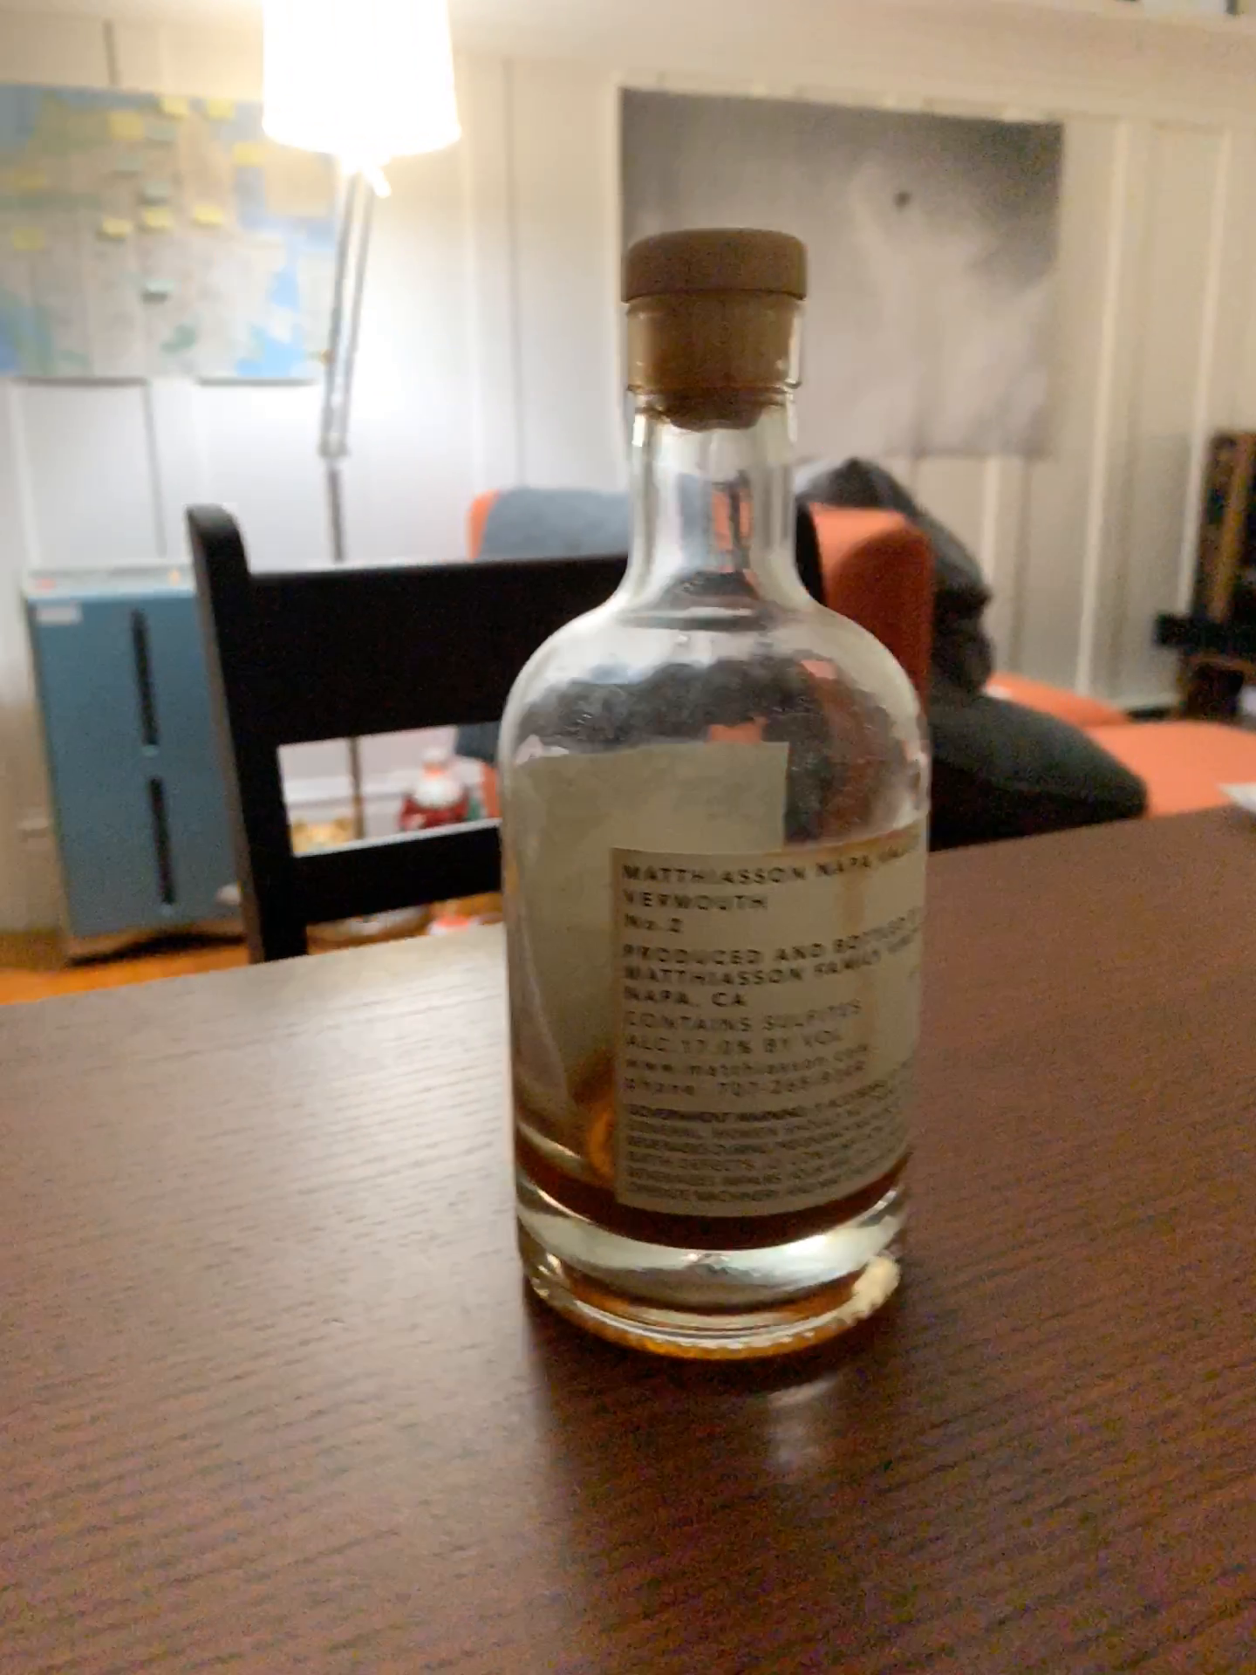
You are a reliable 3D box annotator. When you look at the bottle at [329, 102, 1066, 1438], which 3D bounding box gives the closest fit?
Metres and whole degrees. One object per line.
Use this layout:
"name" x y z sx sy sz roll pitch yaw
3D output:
"bottle" 0.008 -0.012 0.236 0.090 0.189 0.080 -8 17 -26
